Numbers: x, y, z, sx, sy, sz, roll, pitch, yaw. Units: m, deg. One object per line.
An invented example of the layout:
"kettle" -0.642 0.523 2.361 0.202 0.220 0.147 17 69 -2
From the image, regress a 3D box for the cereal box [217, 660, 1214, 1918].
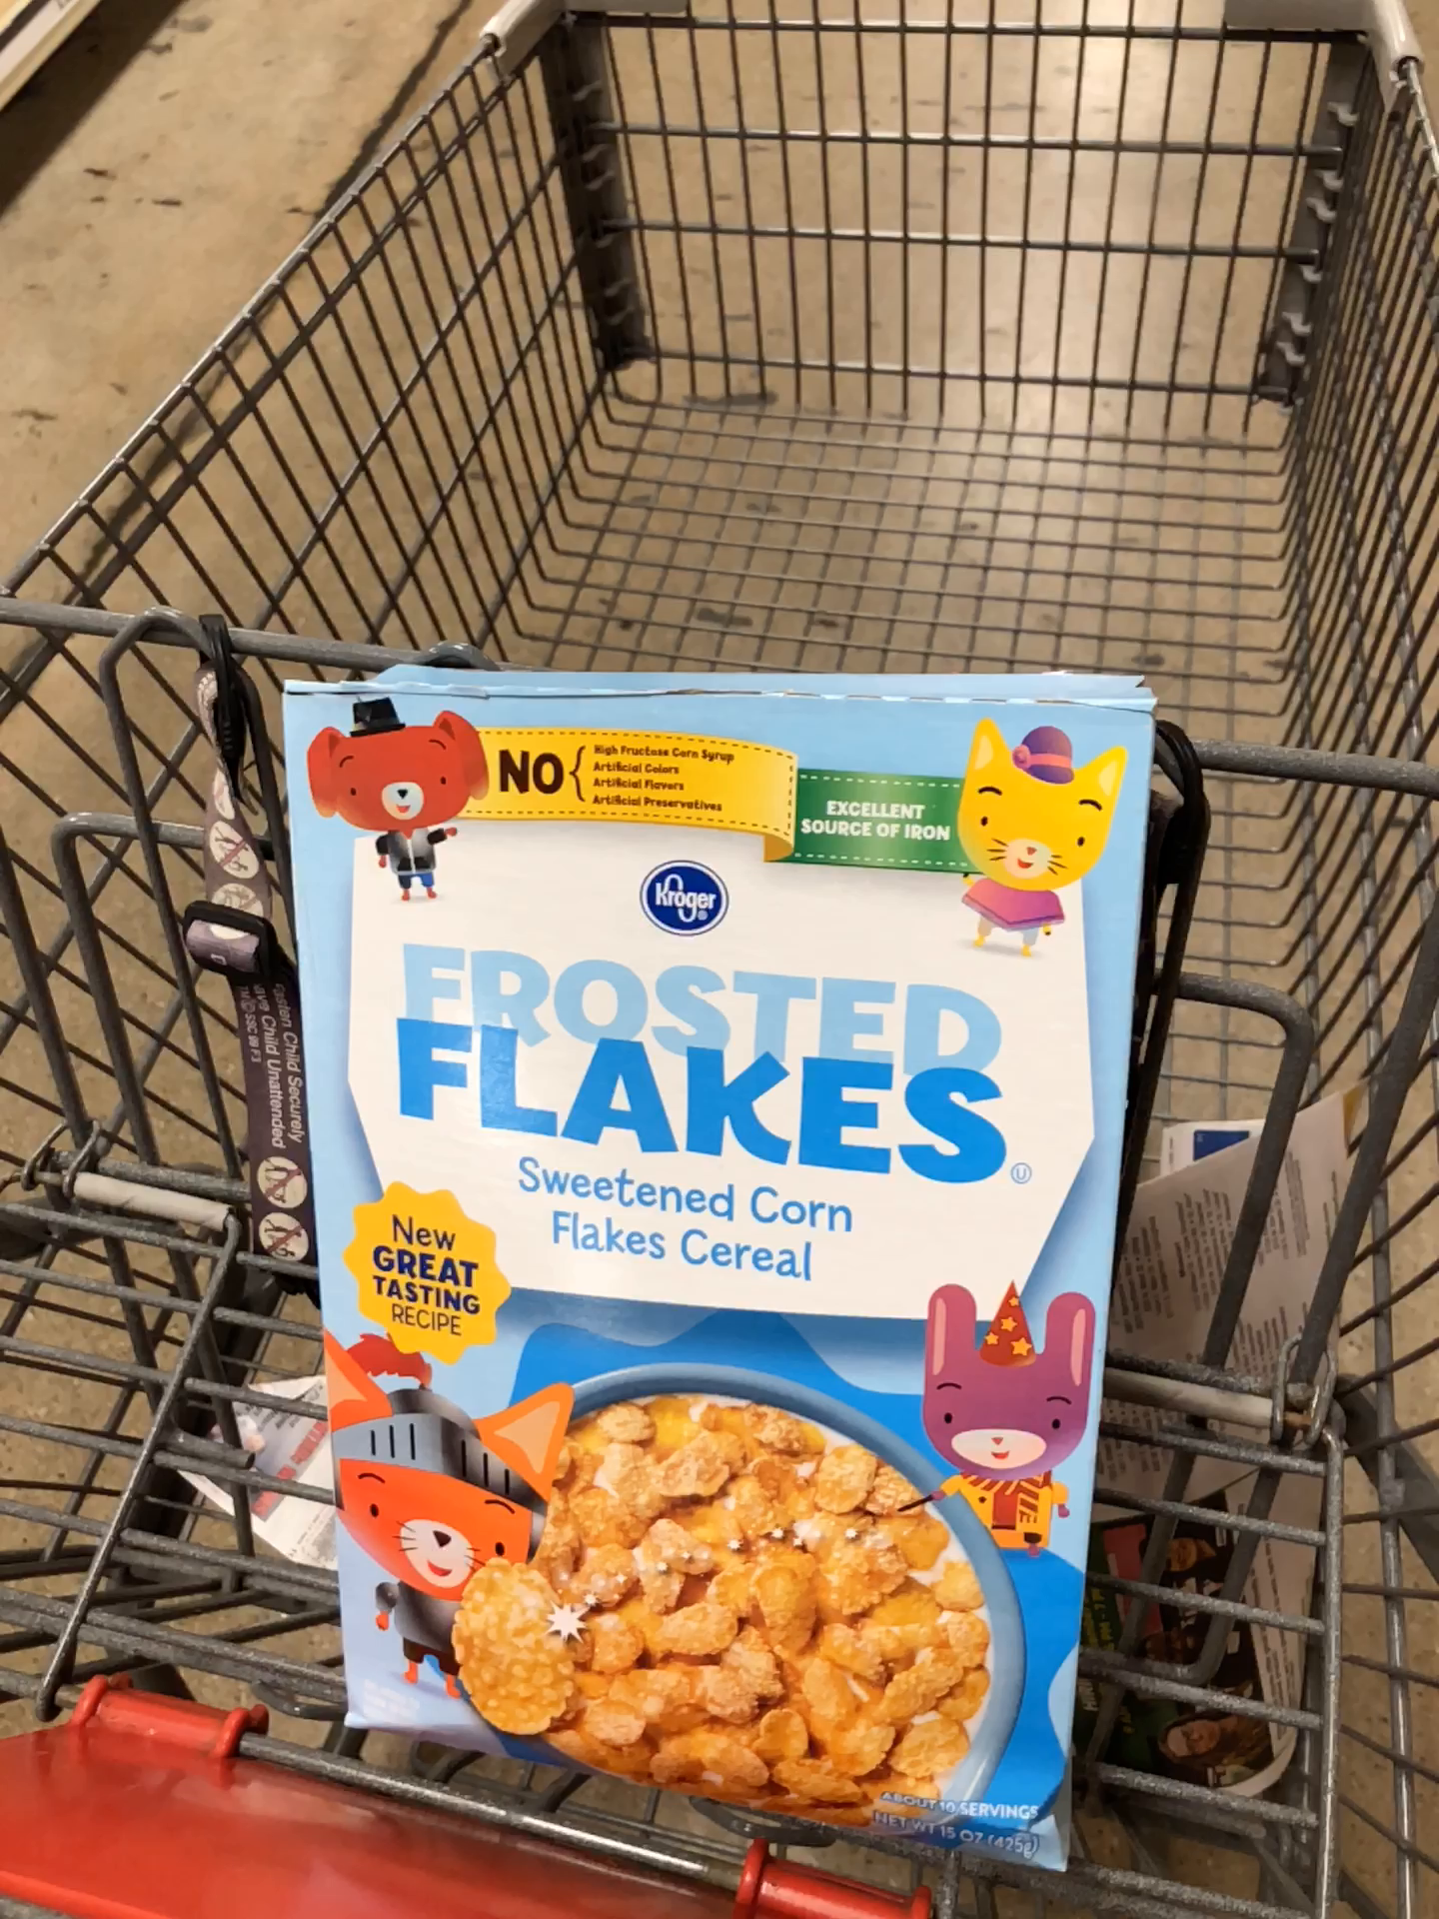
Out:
"cereal box" -0.004 0.071 0.377 0.200 0.270 0.070 4 13 10
